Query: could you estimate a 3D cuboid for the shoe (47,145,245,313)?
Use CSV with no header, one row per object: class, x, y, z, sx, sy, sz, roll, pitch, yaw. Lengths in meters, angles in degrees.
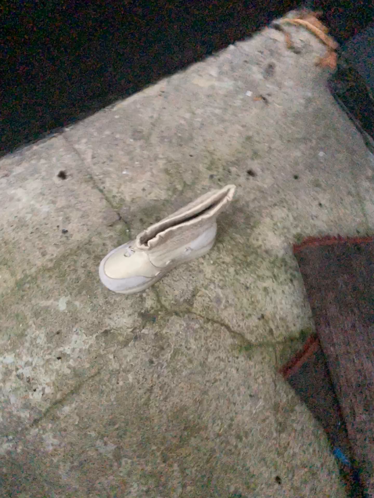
shoe,-0.058,-0.012,0.717,0.270,0.309,0.120,-26,76,-6
